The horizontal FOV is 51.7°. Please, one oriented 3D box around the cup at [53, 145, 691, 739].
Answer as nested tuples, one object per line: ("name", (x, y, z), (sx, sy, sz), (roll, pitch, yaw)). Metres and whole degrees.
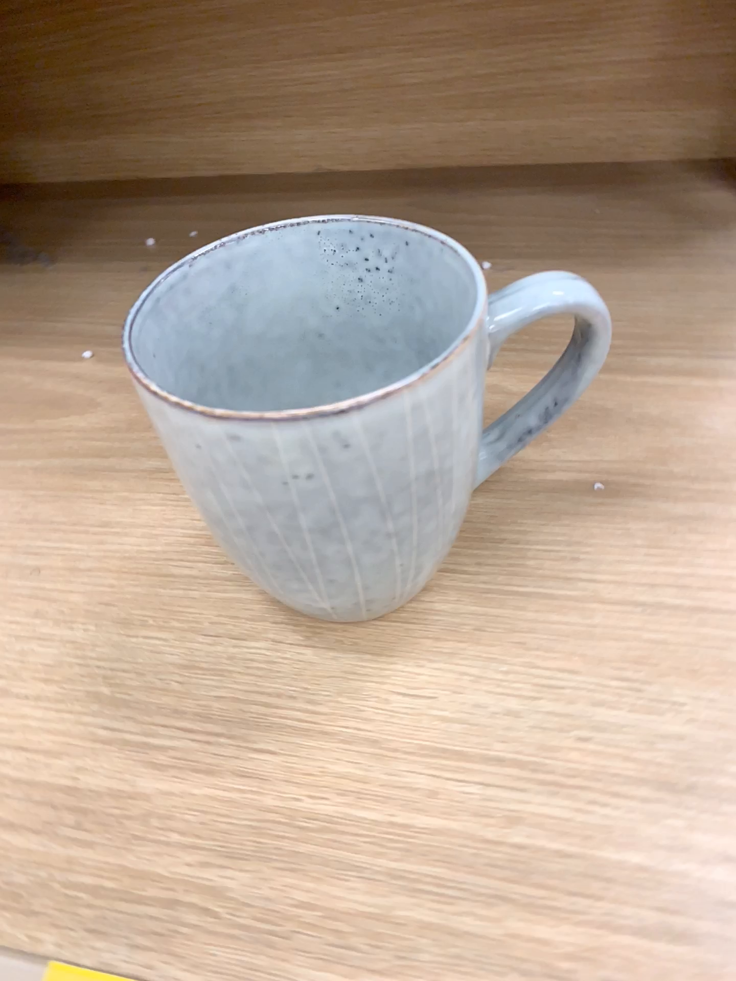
("cup", (-0.005, -0.019, 0.229), (0.136, 0.098, 0.108), (-18, 47, -8))
